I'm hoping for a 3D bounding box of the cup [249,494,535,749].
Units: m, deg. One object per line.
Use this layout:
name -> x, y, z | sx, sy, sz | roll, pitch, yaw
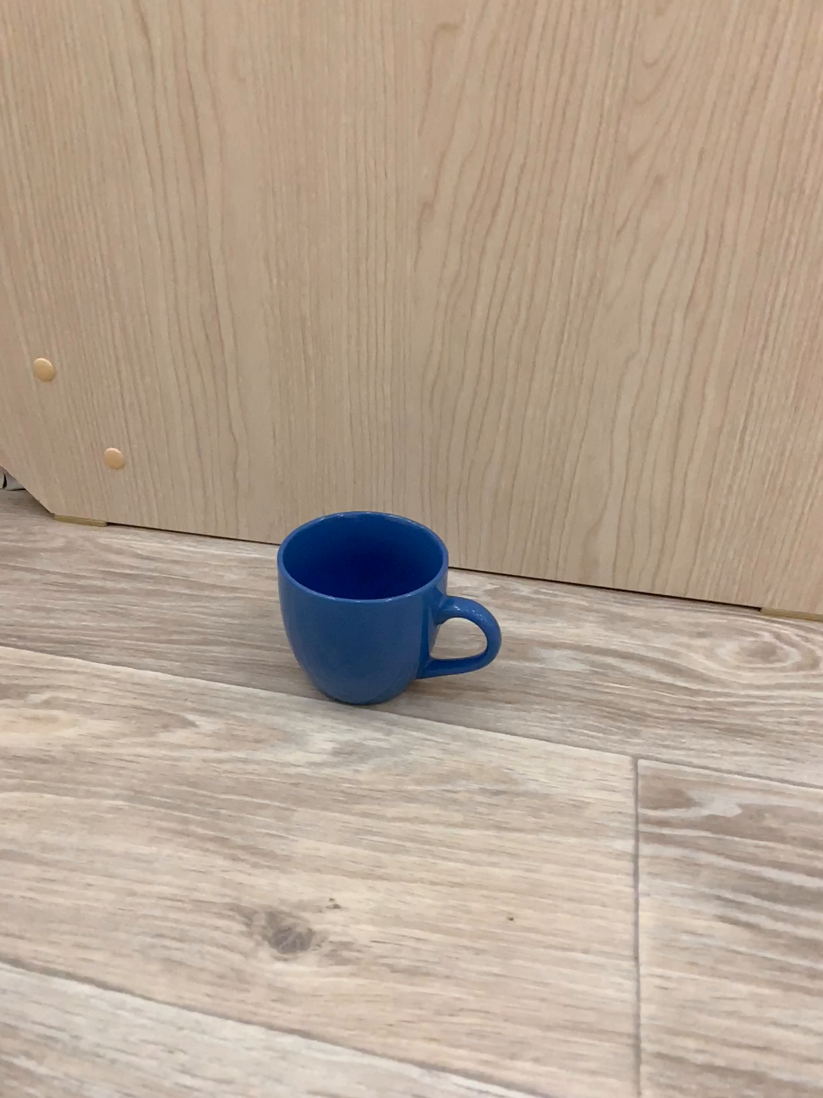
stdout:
cup -> -0.007, 0.032, 0.420 | 0.117, 0.074, 0.078 | 11, 31, 14
